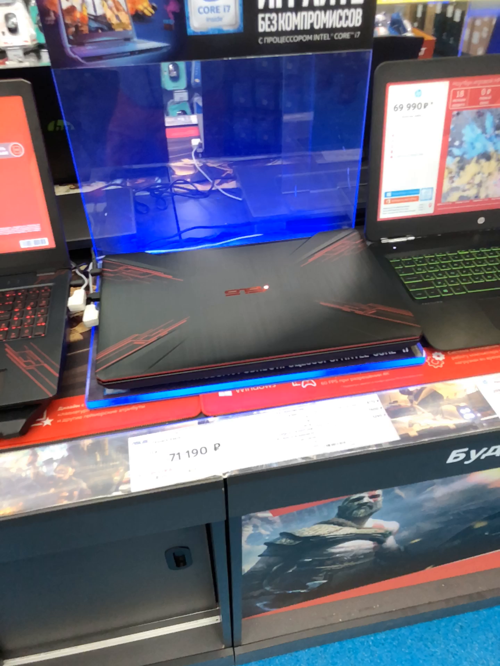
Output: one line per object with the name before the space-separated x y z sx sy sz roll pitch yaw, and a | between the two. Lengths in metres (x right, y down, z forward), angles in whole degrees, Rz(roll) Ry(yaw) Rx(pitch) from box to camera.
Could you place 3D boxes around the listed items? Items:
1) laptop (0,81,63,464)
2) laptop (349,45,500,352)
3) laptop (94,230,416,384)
laptop | -0.435 -0.091 0.593 0.390 0.231 0.320 -9 40 -8
laptop | 0.368 -0.189 0.706 0.374 0.242 0.293 -7 41 -7
laptop | -0.010 -0.050 0.714 0.373 0.006 0.244 -8 41 -6
